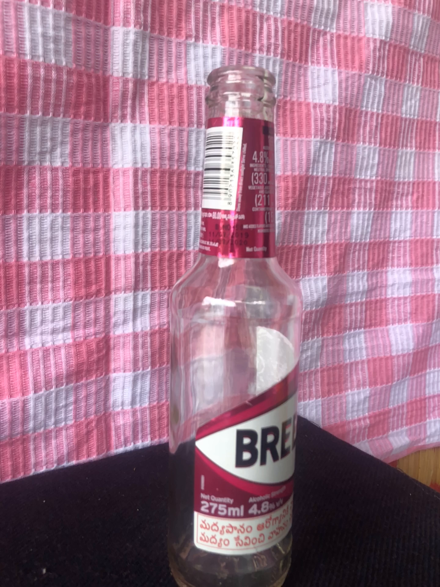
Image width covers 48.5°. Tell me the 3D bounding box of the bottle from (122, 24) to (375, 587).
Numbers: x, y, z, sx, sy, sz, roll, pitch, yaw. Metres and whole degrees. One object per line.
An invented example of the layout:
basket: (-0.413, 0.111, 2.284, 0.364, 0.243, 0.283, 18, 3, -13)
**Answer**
bottle: (0.009, 0.024, 0.187, 0.060, 0.209, 0.060, 4, 10, -1)
